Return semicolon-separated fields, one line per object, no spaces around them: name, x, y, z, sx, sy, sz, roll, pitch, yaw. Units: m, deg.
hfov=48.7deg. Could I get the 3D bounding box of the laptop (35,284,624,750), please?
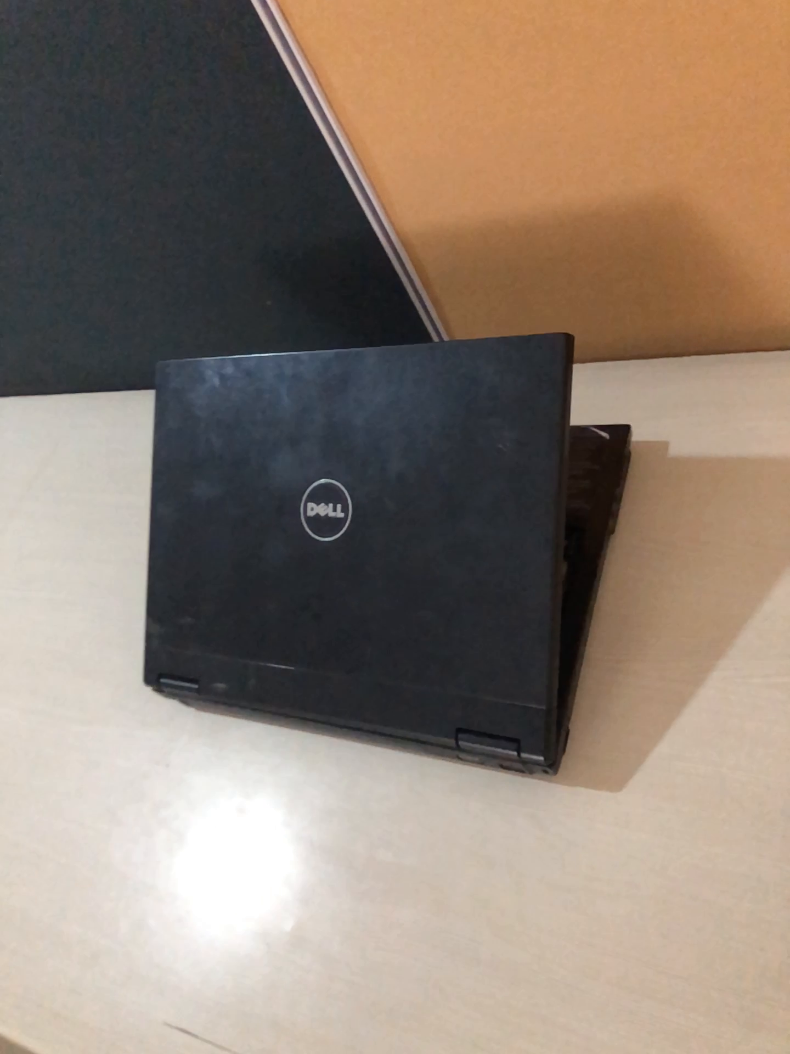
laptop;-0.036;-0.011;0.564;0.303;0.126;0.225;2;59;31
